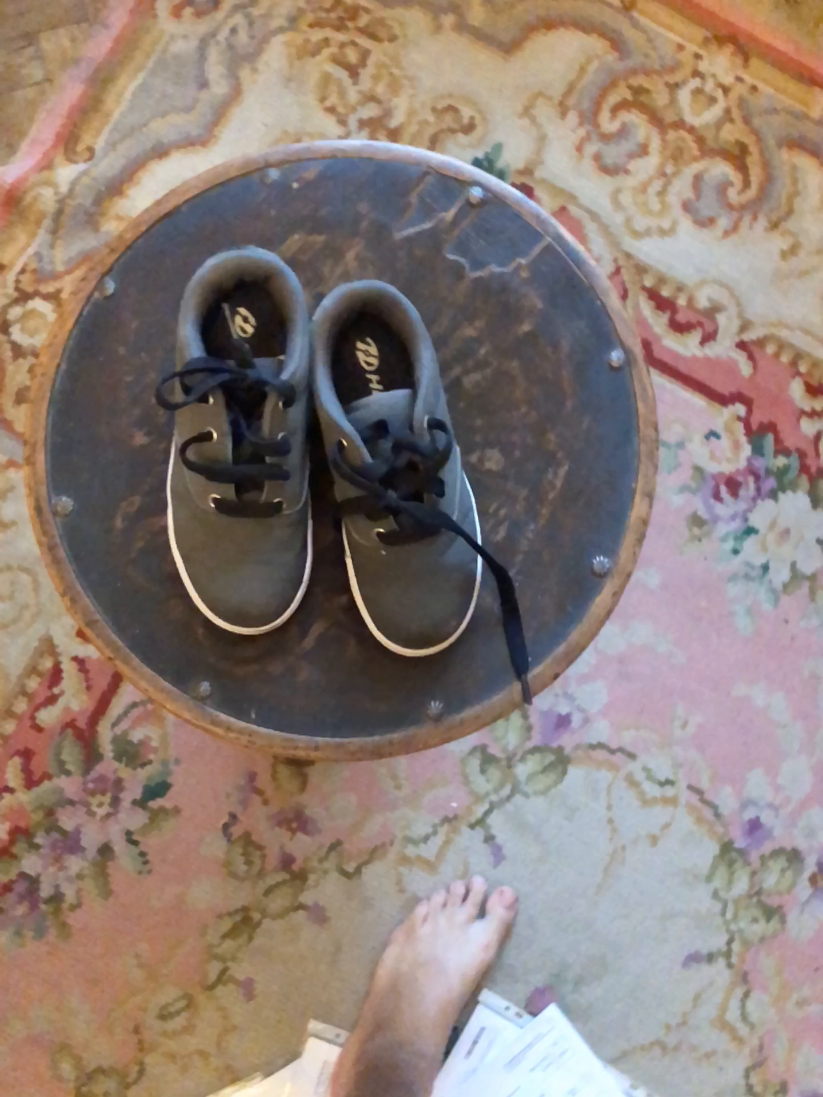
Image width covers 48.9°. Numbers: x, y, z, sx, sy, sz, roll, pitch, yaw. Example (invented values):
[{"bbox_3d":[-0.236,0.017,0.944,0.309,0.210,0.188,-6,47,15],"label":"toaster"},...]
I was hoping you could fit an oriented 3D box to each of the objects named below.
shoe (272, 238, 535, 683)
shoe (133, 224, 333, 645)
[{"bbox_3d":[-0.008,-0.042,0.501,0.090,0.100,0.211,-12,85,-5],"label":"shoe"},{"bbox_3d":[-0.094,-0.056,0.503,0.090,0.100,0.211,-2,85,-4],"label":"shoe"}]
